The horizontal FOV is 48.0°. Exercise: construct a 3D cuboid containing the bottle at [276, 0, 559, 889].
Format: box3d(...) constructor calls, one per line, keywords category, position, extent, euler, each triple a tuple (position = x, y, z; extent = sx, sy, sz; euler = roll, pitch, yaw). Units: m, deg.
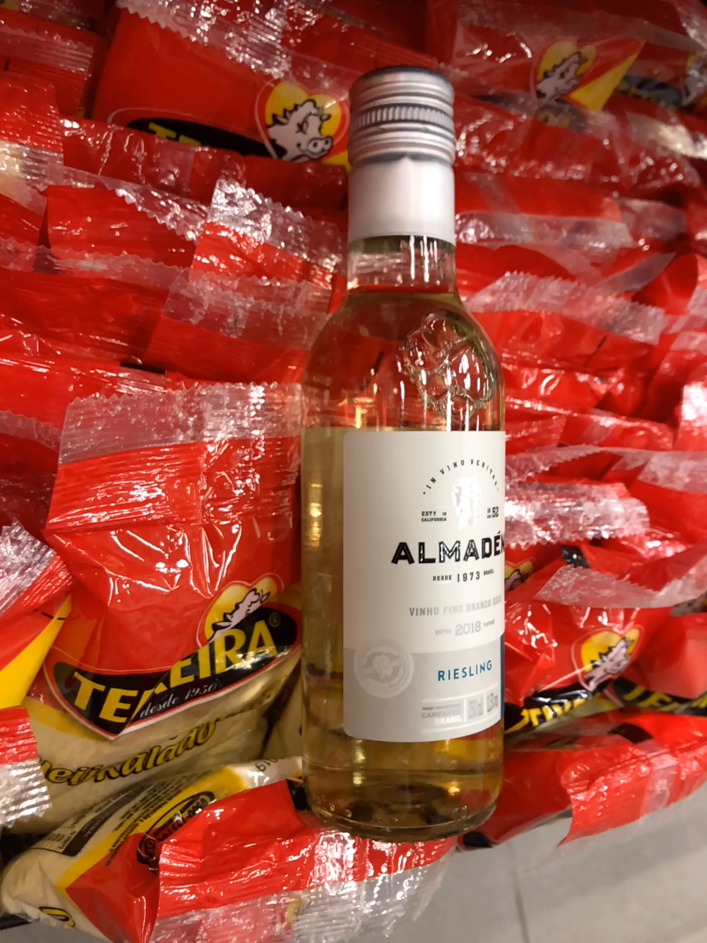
box3d(category="bottle", position=(0.017, -0.010, 0.215), extent=(0.060, 0.040, 0.210), euler=(-1, 89, -32))
